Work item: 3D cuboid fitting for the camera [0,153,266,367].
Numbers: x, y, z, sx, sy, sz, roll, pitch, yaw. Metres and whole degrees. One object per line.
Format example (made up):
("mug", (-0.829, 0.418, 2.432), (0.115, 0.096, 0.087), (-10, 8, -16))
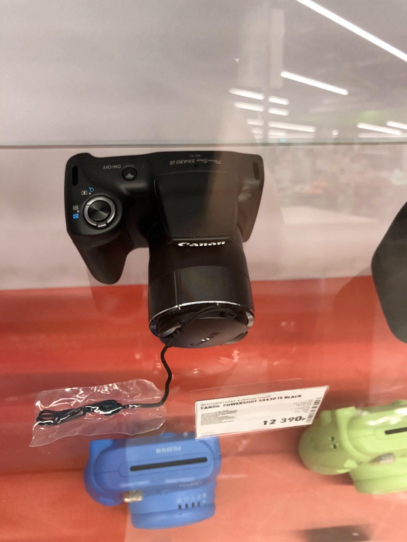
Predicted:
("camera", (-0.034, -0.003, 0.247), (0.113, 0.080, 0.085), (-2, 63, -5))
